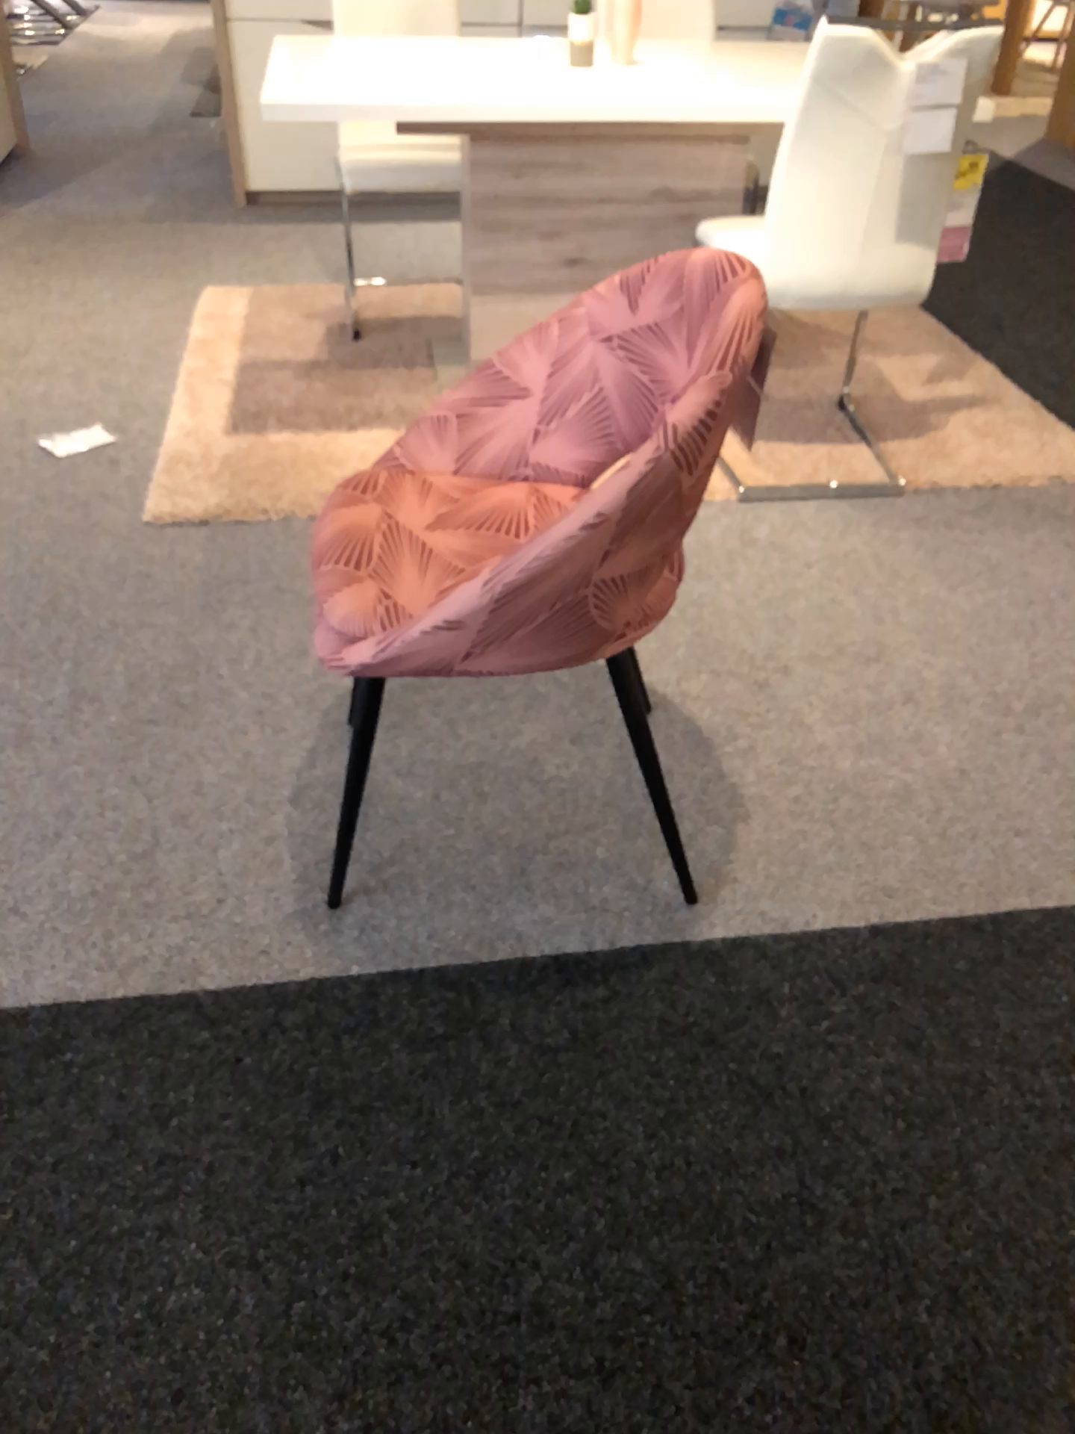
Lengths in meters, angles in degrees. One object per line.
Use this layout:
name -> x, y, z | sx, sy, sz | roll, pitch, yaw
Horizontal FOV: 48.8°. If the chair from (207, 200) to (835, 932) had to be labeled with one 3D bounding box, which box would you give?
chair -> -0.035, -0.197, 1.576 | 0.600, 0.795, 0.533 | -1, 36, -4
